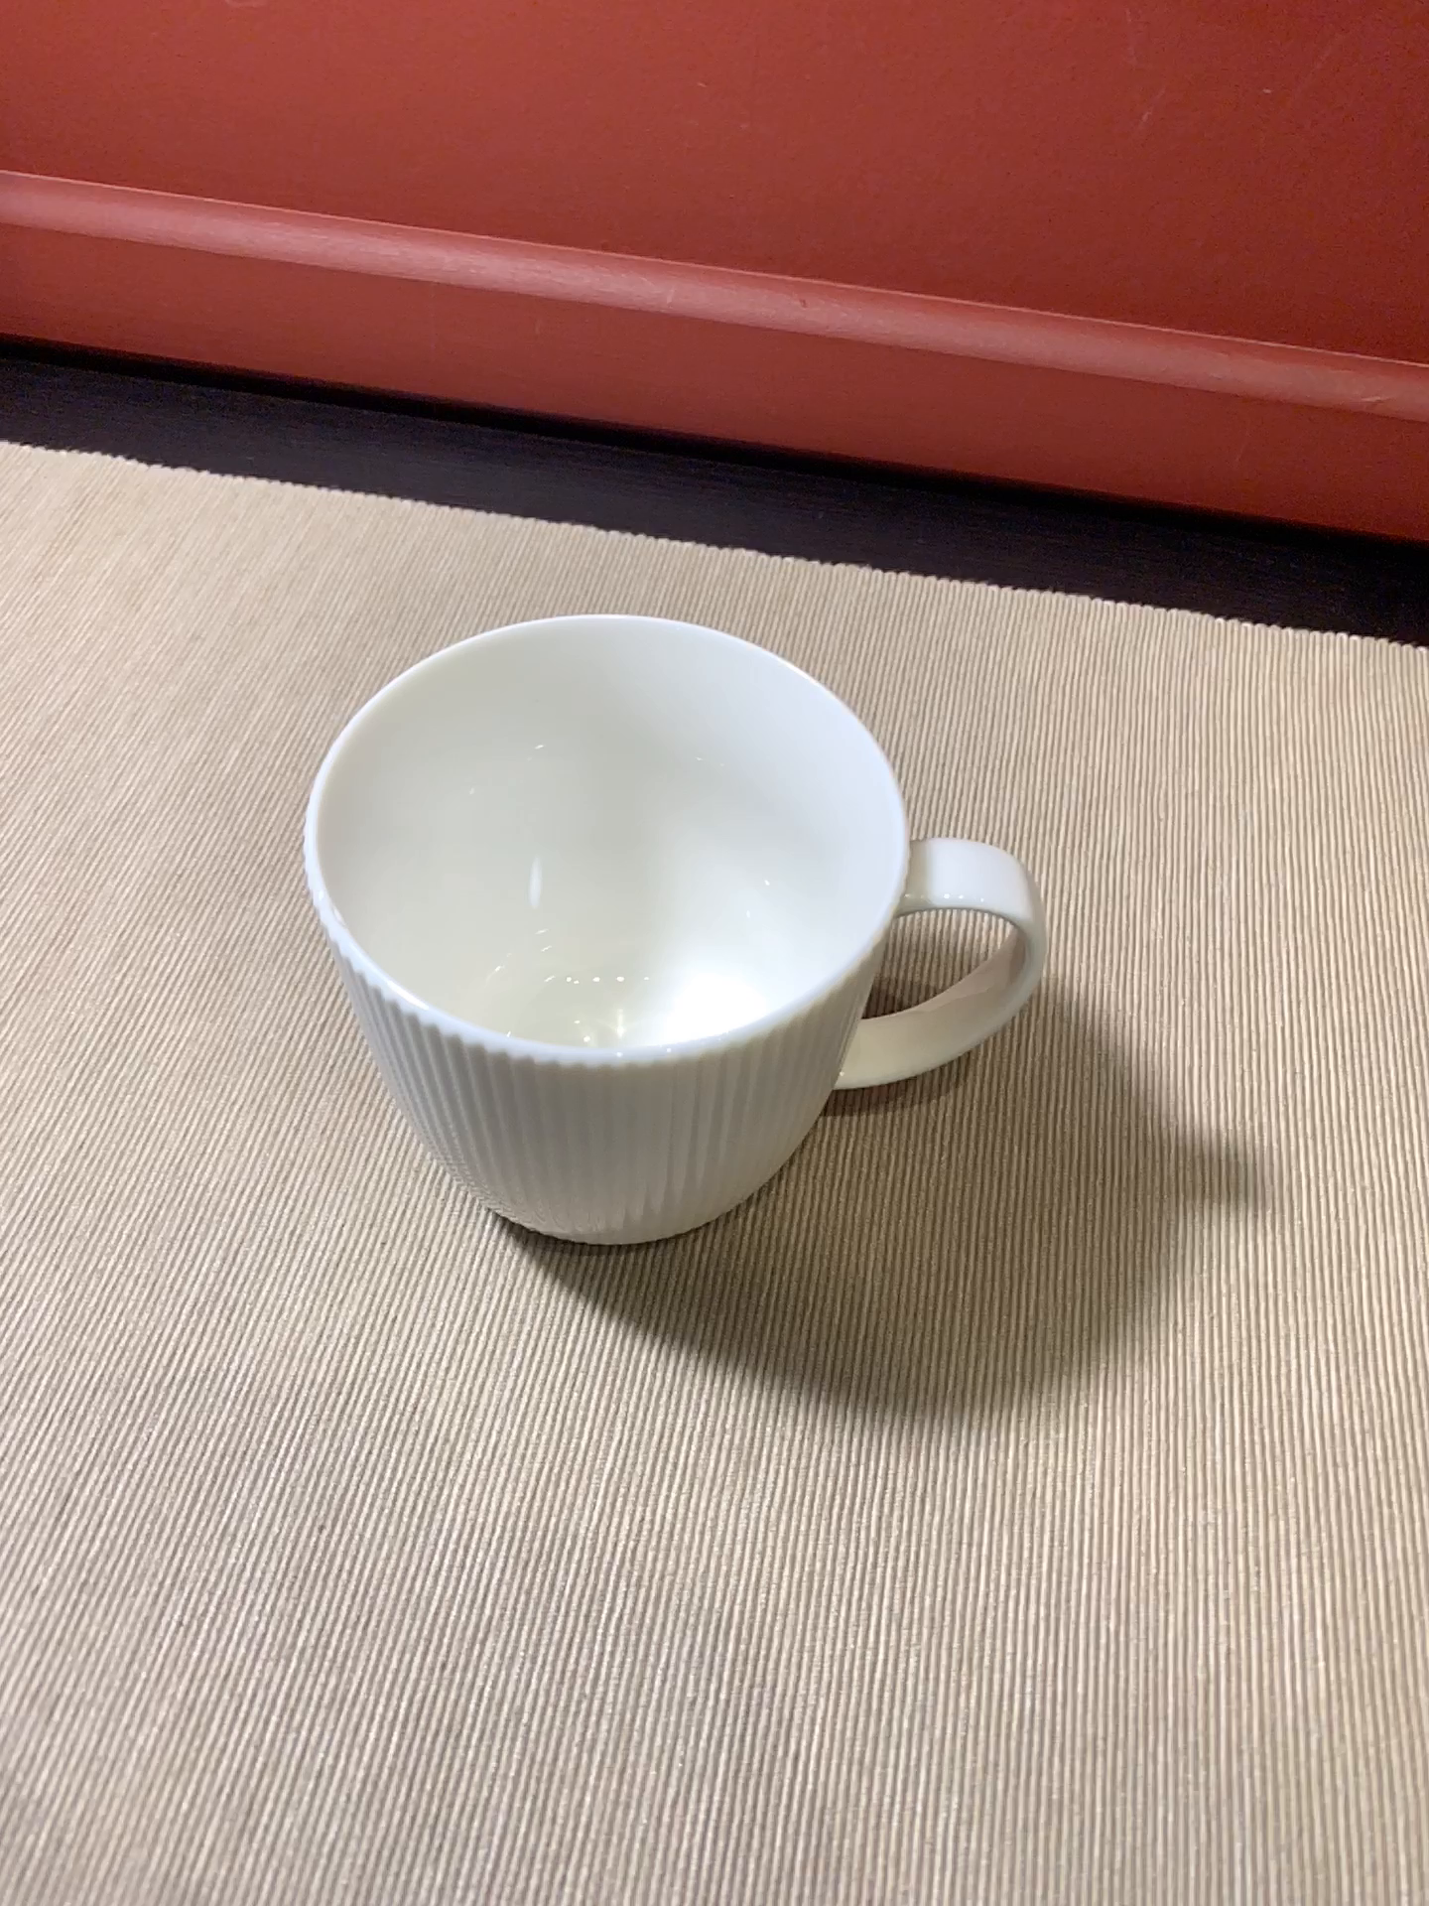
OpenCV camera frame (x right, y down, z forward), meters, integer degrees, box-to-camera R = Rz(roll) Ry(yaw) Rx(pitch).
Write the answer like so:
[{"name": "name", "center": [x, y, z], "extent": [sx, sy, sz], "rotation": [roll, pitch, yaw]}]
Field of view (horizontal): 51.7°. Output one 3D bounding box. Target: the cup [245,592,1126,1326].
[{"name": "cup", "center": [-0.001, -0.001, 0.235], "extent": [0.110, 0.060, 0.090], "rotation": [5, 51, 2]}]
